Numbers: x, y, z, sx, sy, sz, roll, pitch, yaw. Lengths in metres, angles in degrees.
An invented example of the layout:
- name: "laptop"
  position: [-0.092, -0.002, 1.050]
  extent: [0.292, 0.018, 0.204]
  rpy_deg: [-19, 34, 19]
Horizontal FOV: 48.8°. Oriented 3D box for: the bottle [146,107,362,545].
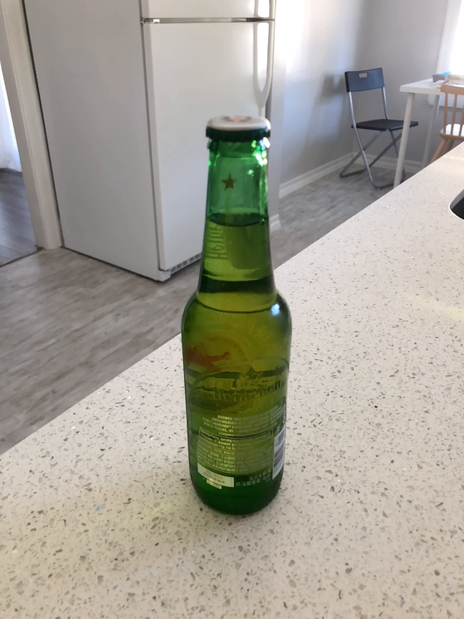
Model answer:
- name: "bottle"
  position: [0.005, 0.015, 0.262]
  extent: [0.070, 0.209, 0.070]
  rpy_deg: [0, 30, 0]
